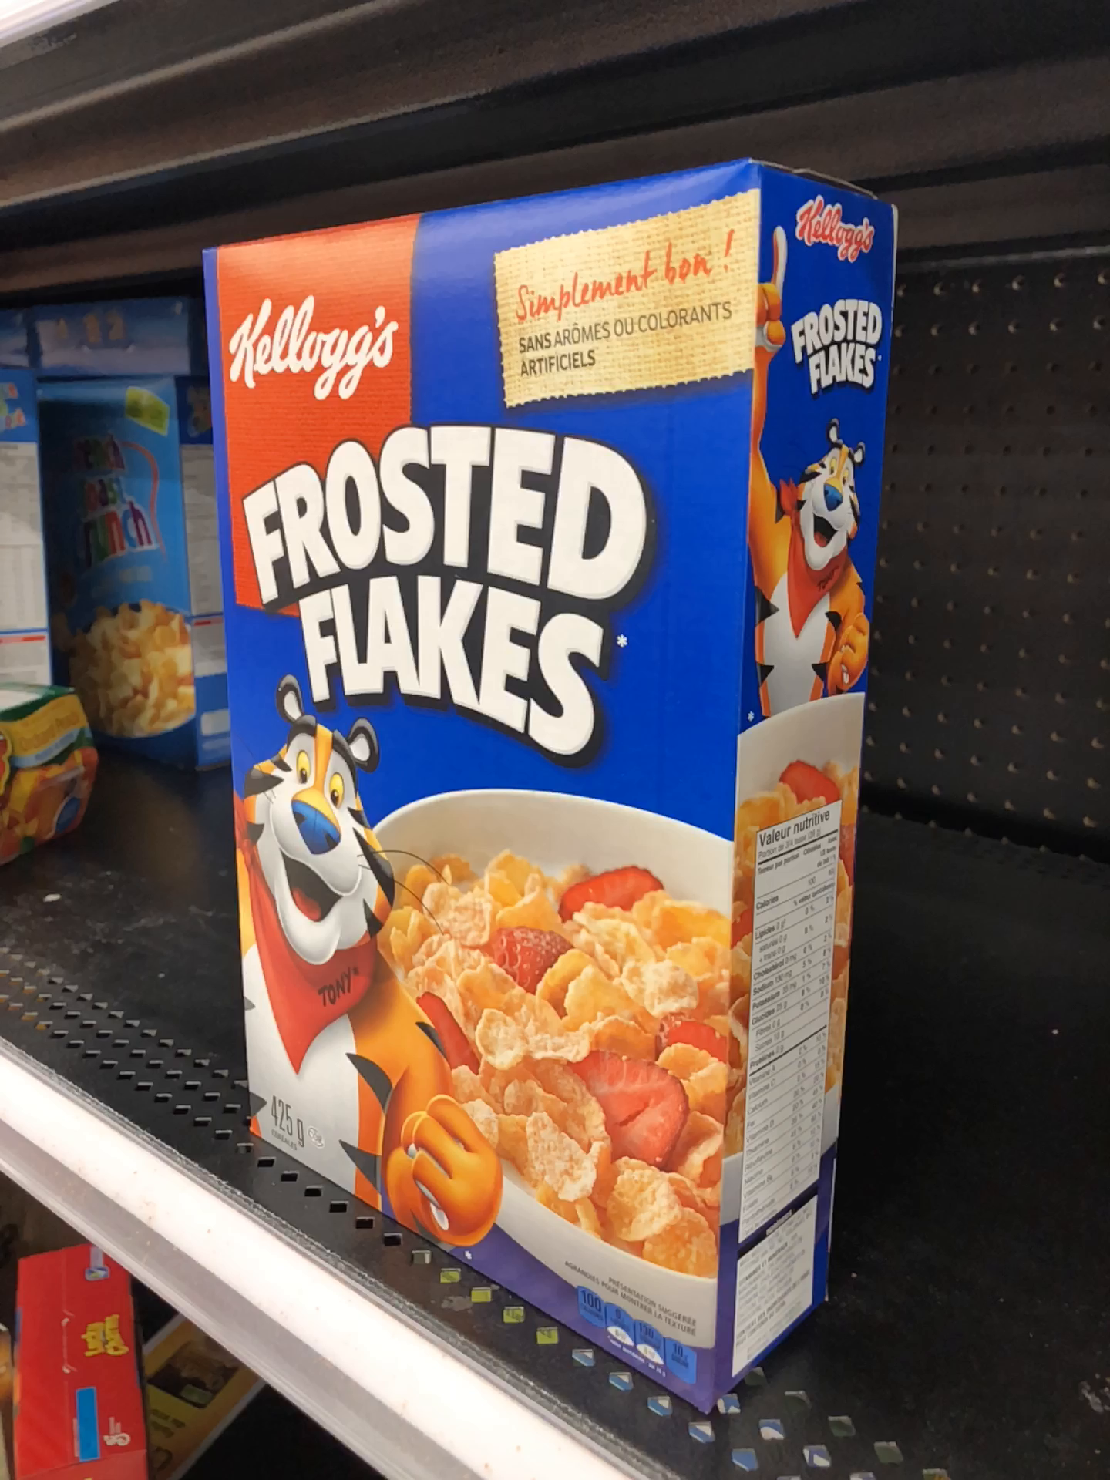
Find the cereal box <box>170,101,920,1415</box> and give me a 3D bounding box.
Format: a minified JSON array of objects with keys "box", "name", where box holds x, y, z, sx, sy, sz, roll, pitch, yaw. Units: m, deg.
[{"box":[-0.018,-0.002,0.353,0.210,0.289,0.060,12,17,40],"name":"cereal box"}]
